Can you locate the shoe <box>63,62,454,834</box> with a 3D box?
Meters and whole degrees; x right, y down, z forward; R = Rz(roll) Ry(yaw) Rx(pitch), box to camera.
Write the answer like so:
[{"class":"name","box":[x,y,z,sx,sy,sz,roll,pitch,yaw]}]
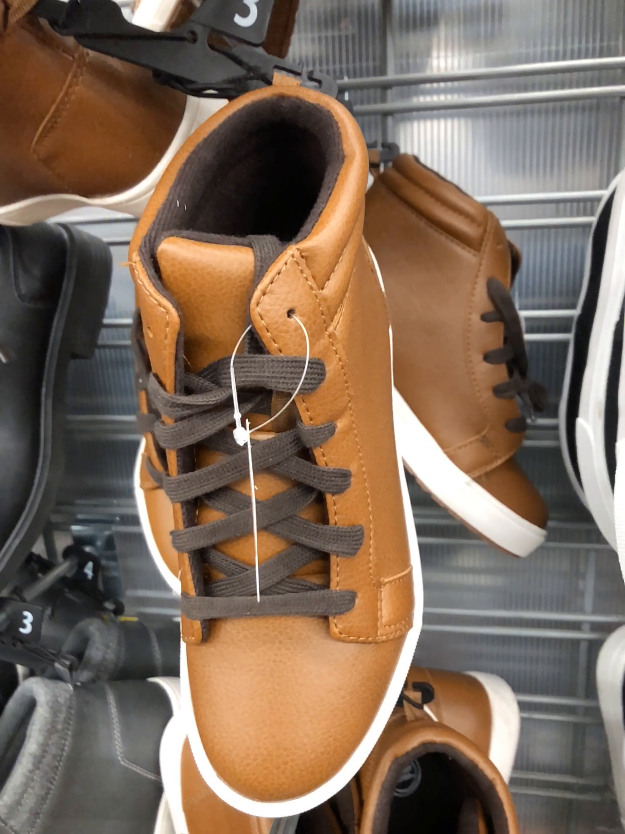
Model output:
[{"class":"shoe","box":[-0.010,0.026,0.233,0.096,0.227,0.110,-1,-5,6]}]
